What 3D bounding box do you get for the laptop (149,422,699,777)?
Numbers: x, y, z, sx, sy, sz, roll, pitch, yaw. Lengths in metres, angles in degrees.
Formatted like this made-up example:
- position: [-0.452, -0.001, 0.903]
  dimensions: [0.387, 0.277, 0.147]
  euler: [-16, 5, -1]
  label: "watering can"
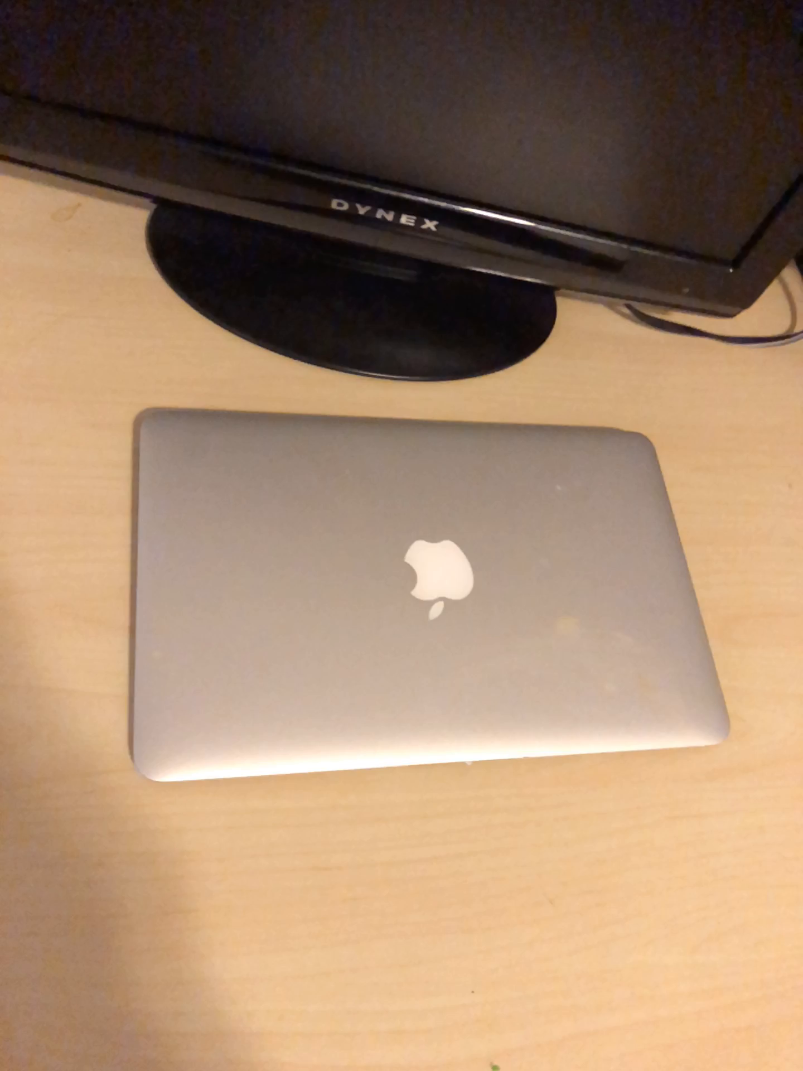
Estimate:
- position: [0.013, 0.024, 0.465]
  dimensions: [0.278, 0.005, 0.181]
  euler: [0, 64, -17]
  label: "laptop"
